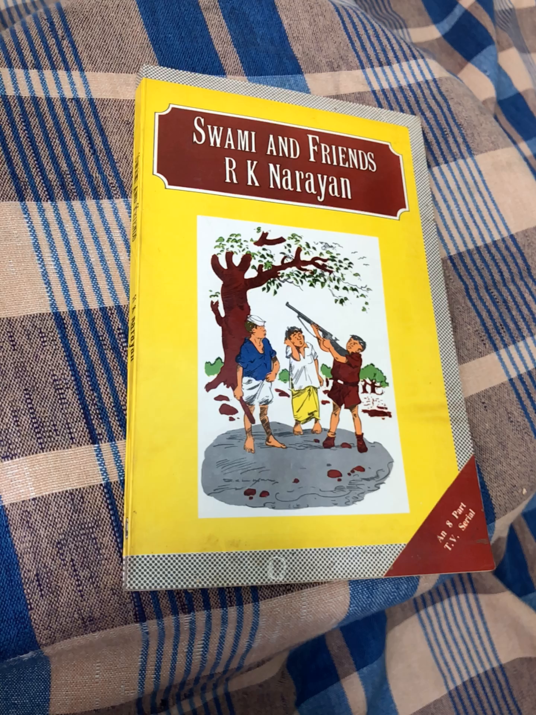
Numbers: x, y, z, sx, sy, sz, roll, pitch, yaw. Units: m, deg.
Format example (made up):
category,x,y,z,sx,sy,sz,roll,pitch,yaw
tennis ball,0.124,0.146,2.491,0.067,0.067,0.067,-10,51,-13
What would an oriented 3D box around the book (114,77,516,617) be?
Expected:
category,x,y,z,sx,sy,sz,roll,pitch,yaw
book,0.014,-0.011,0.225,0.130,0.020,0.190,3,70,-16
